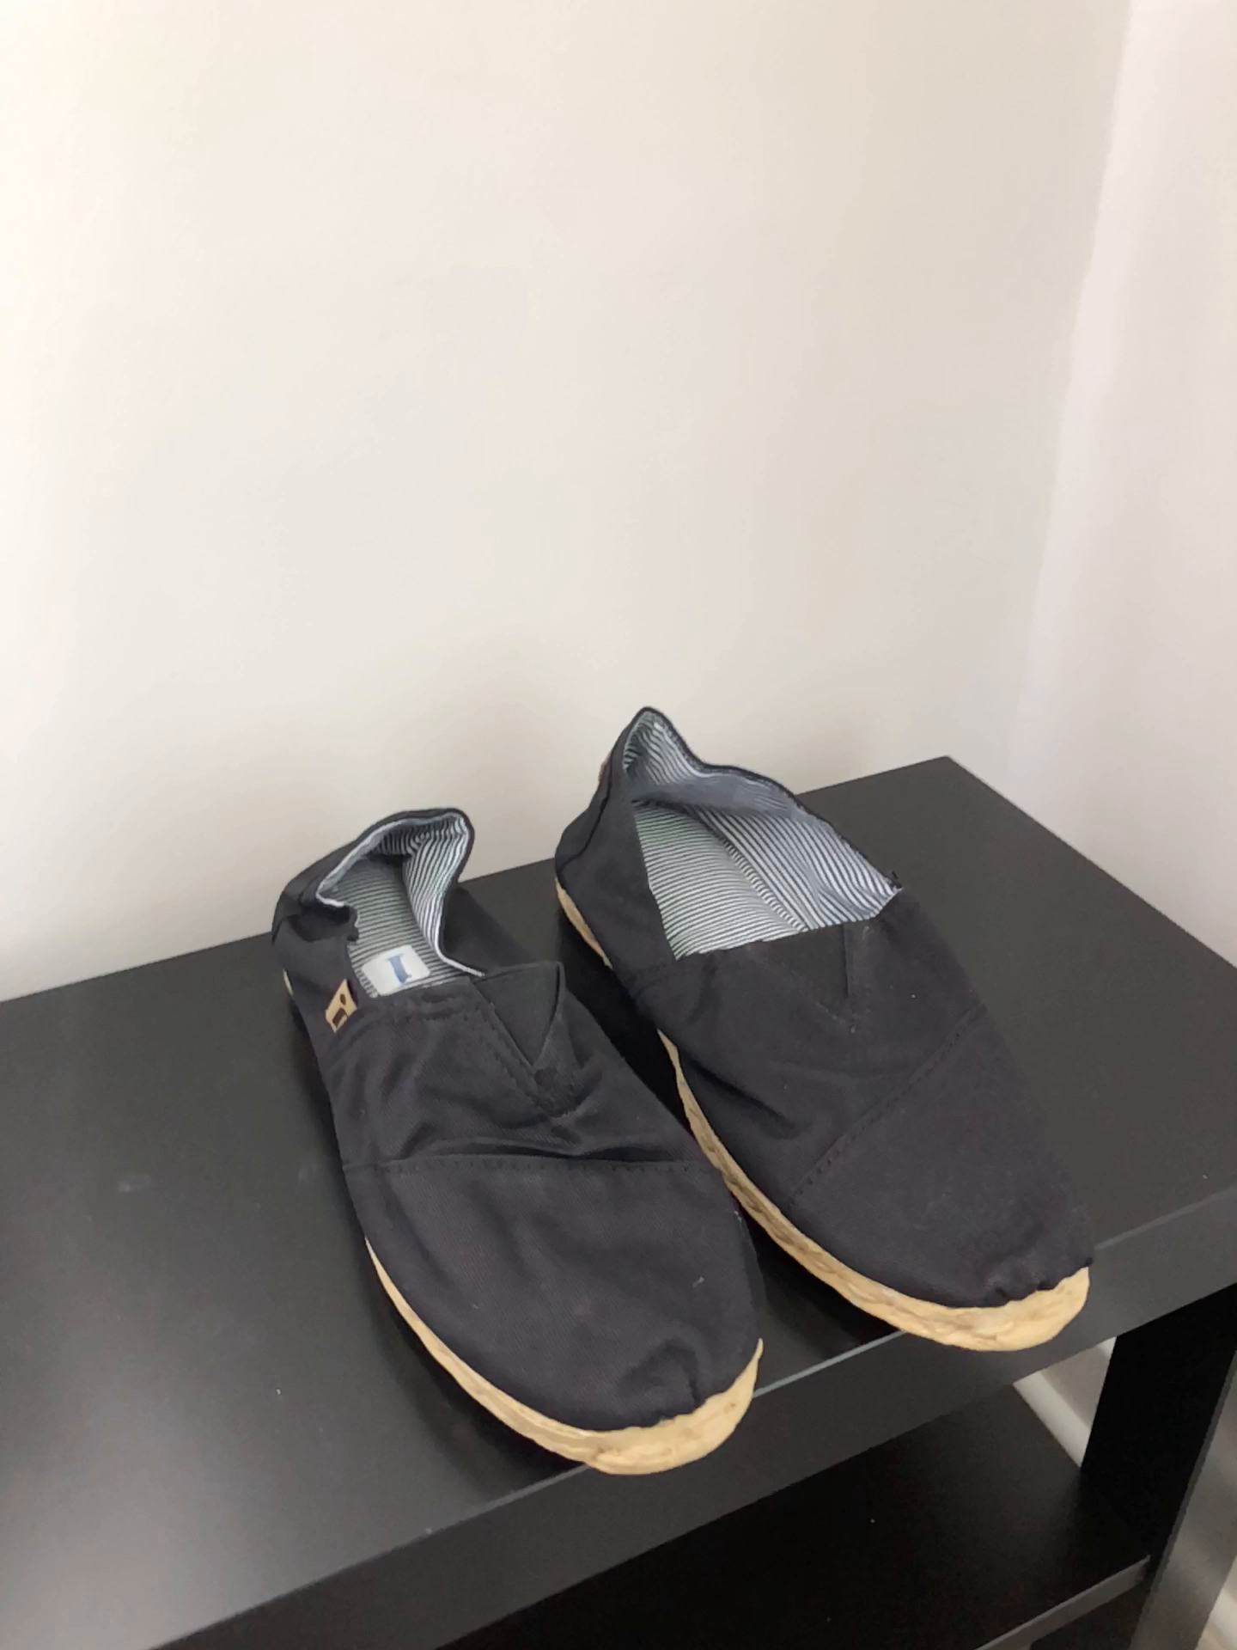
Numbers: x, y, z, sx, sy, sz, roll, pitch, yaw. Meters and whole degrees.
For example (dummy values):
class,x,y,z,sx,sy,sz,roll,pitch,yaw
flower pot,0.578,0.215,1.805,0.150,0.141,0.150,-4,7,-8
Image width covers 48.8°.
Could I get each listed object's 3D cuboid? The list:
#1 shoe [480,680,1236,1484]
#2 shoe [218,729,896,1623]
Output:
class,x,y,z,sx,sy,sz,roll,pitch,yaw
shoe,0.052,0.054,0.445,0.101,0.080,0.275,-14,35,-21
shoe,-0.040,0.075,0.422,0.101,0.080,0.275,-14,35,-21
